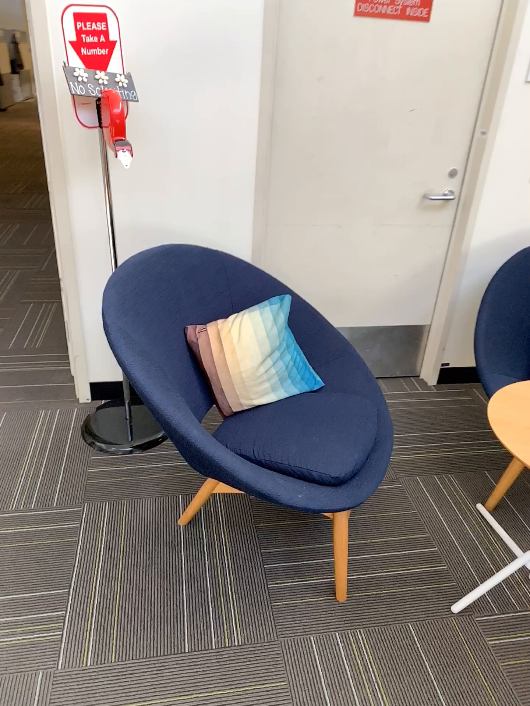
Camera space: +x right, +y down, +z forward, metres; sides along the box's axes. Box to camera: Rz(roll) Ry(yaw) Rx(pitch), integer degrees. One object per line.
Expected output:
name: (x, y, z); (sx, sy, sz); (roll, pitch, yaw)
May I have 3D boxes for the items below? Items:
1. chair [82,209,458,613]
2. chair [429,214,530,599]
chair: (0.042, 0.088, 1.791); (0.842, 0.835, 0.793); (17, 31, 23)
chair: (1.289, 0.094, 2.135); (0.832, 0.945, 0.983); (19, 32, 25)
